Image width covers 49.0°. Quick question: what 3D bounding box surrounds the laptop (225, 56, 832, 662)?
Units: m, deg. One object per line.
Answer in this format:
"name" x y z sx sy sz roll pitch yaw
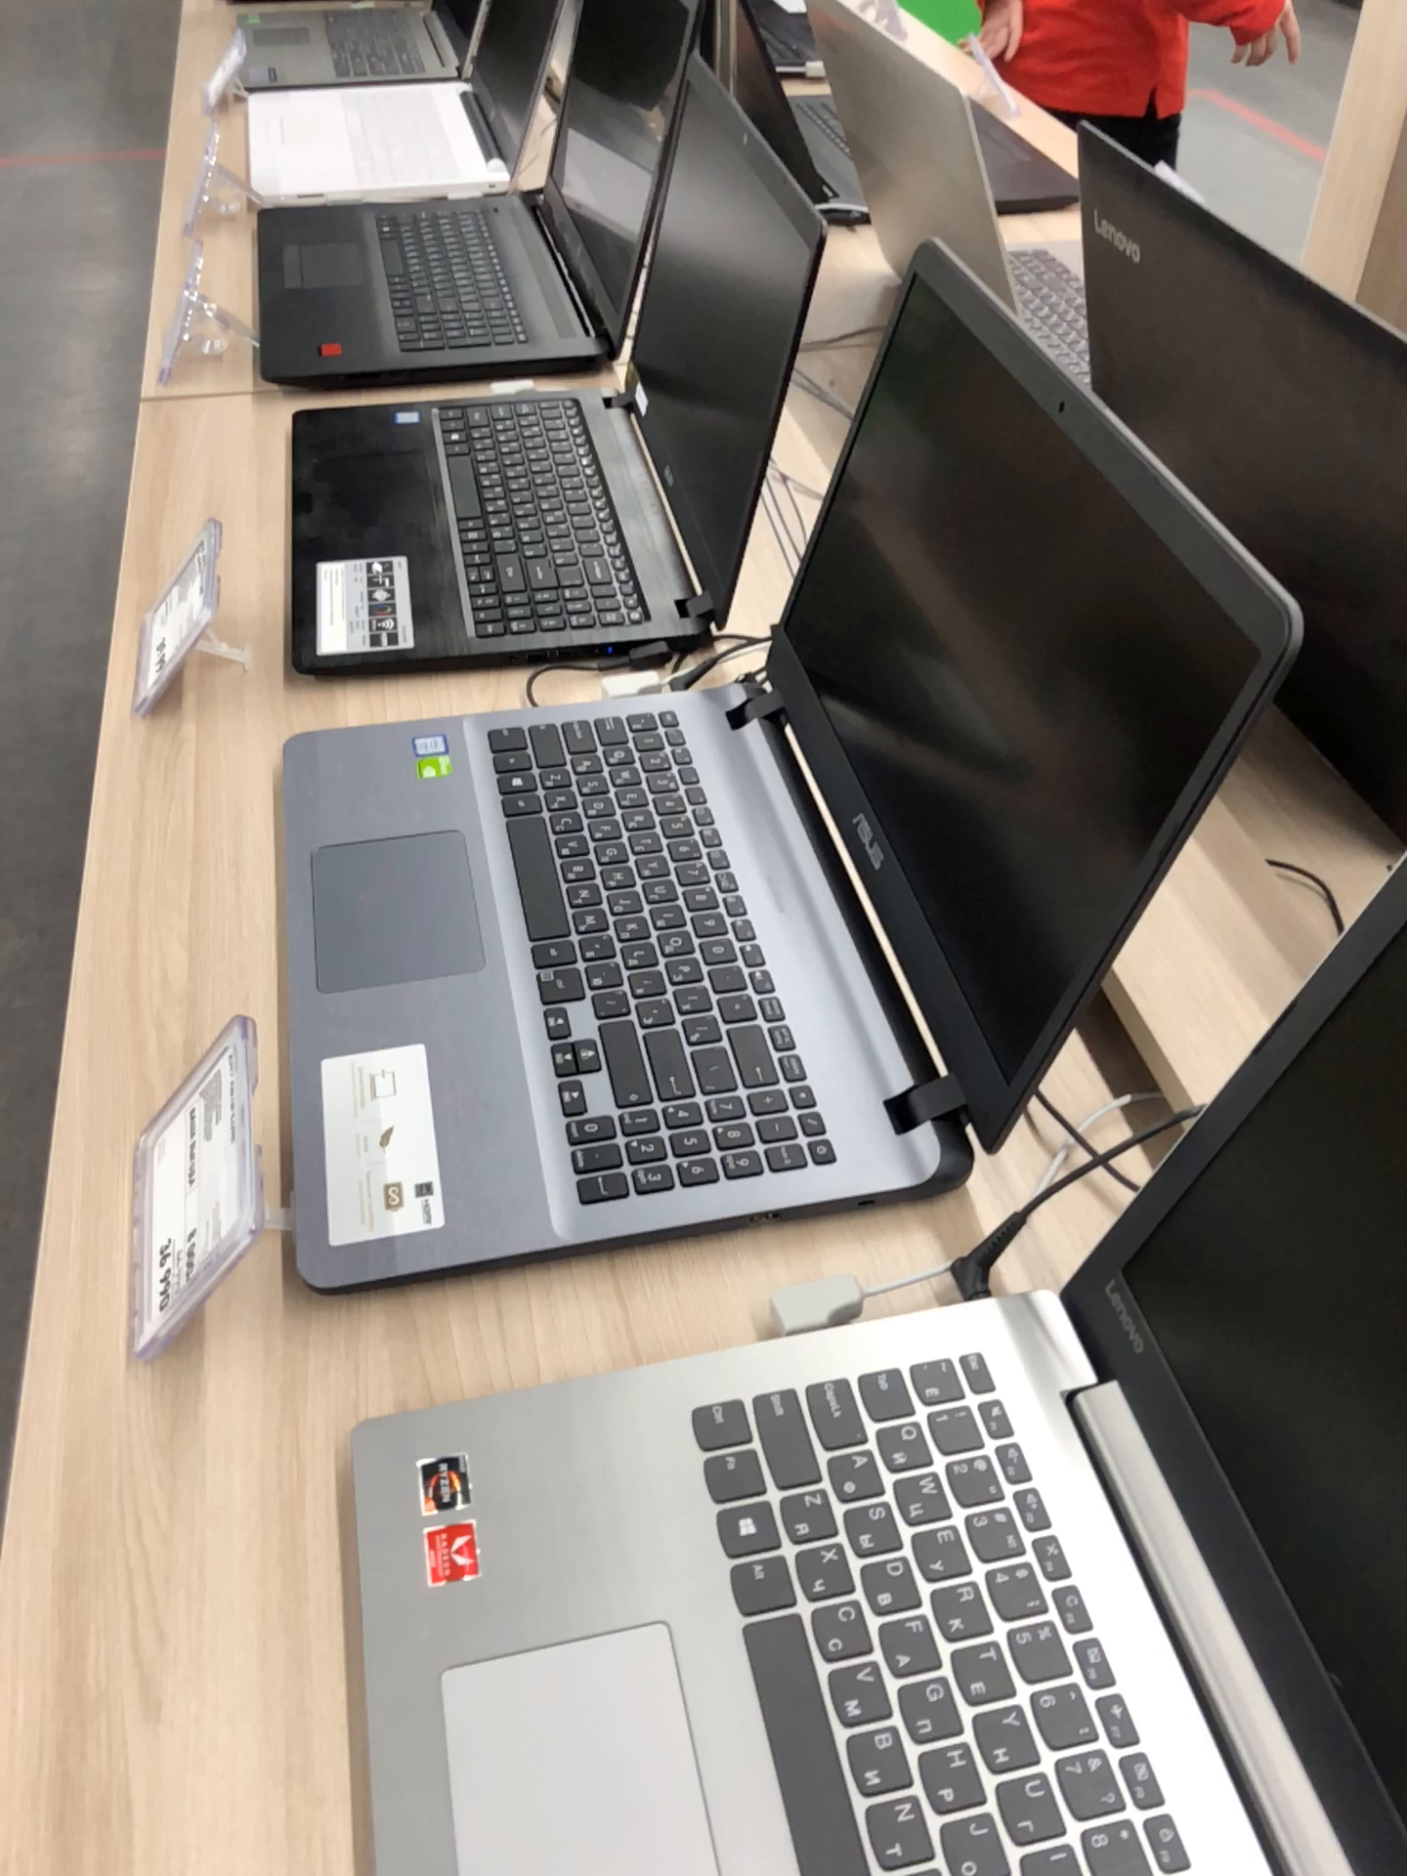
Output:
"laptop" -0.115 -0.364 0.936 0.291 0.222 0.334 -7 42 -8

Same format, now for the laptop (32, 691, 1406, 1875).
"laptop" 0.086 0.176 0.324 0.332 0.219 0.372 -10 43 -10

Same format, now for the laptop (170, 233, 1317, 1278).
"laptop" -0.017 -0.101 0.631 0.328 0.226 0.346 -9 42 -9
